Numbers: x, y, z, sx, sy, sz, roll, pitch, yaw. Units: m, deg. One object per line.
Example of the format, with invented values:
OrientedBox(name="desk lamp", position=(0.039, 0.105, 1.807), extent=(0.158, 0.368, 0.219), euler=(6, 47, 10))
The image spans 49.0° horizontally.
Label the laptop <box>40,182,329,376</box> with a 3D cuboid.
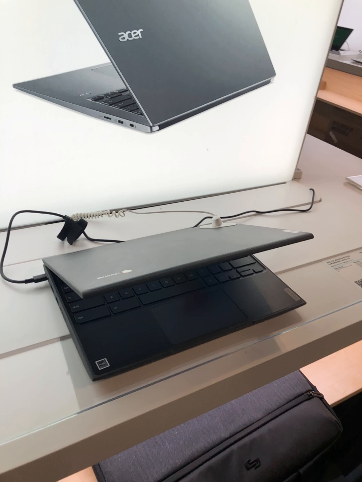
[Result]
OrientedBox(name="laptop", position=(-0.003, 0.021, 0.482), extent=(0.277, 0.072, 0.186), euler=(-12, 40, -25))
